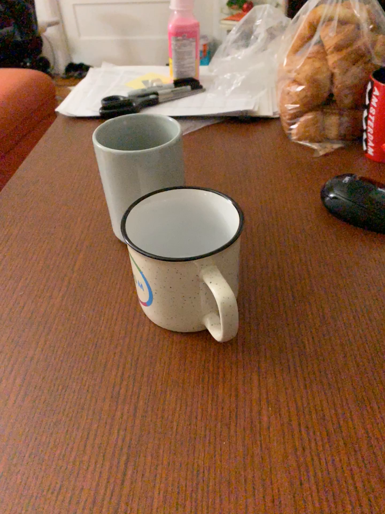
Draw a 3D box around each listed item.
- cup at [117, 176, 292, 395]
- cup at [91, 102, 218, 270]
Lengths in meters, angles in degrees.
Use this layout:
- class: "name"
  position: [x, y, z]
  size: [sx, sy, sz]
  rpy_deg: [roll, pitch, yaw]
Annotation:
- class: "cup"
  position: [0.002, 0.017, 0.327]
  size: [0.100, 0.099, 0.131]
  rpy_deg: [-10, 42, -8]
- class: "cup"
  position: [-0.041, -0.079, 0.412]
  size: [0.100, 0.099, 0.141]
  rpy_deg: [-11, 42, -8]
